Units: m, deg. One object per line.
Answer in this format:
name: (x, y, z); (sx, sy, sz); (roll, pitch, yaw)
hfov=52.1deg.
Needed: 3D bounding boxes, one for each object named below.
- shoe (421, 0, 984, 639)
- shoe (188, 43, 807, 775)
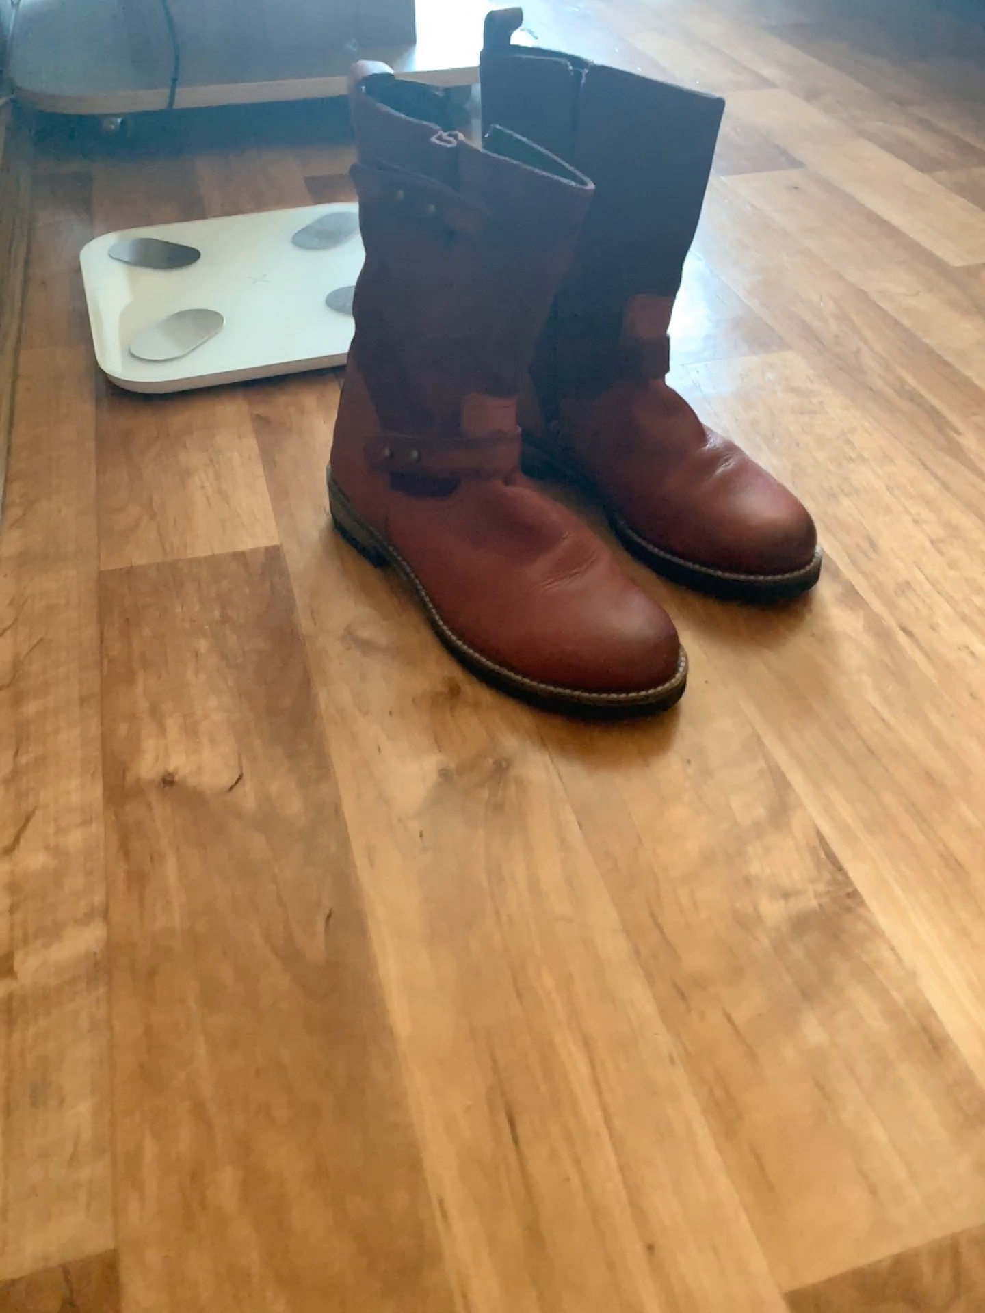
shoe: (0.084, -0.180, 0.529); (0.090, 0.239, 0.251); (-33, 53, -30)
shoe: (-0.011, -0.121, 0.484); (0.100, 0.249, 0.251); (-33, 53, -30)
